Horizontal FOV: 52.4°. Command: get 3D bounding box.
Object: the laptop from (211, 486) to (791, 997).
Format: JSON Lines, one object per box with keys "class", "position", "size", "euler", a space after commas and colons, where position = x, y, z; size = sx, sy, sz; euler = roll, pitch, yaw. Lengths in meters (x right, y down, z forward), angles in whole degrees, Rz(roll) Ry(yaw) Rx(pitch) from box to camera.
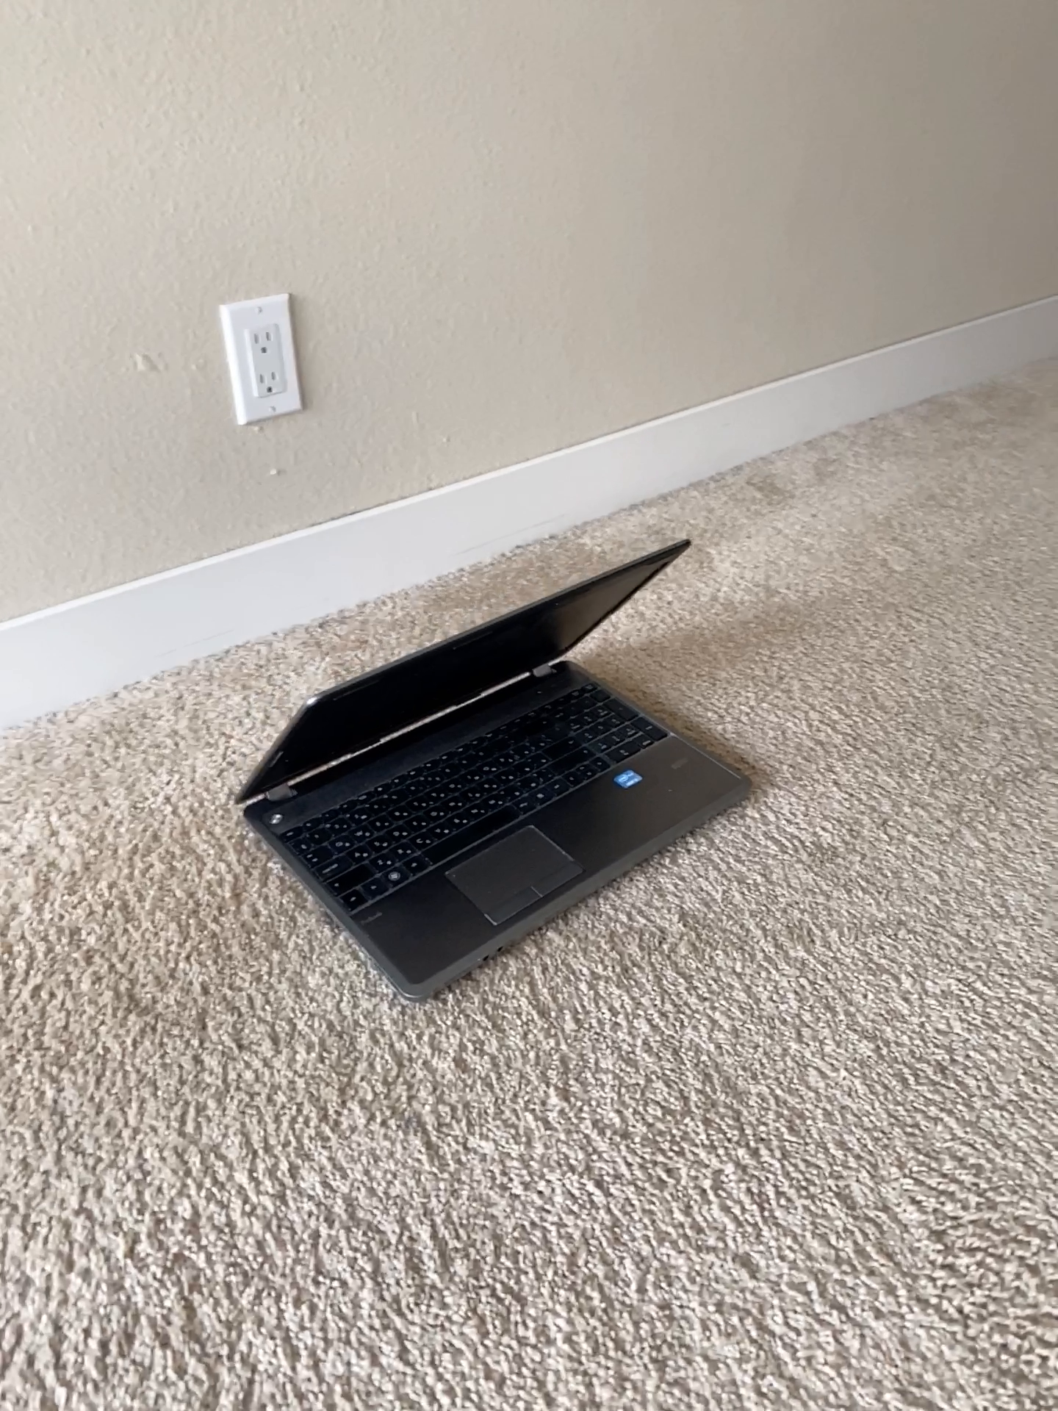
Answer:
{"class": "laptop", "position": [-0.015, 0.000, 0.877], "size": [0.371, 0.189, 0.249], "euler": [-26, 44, -33]}
